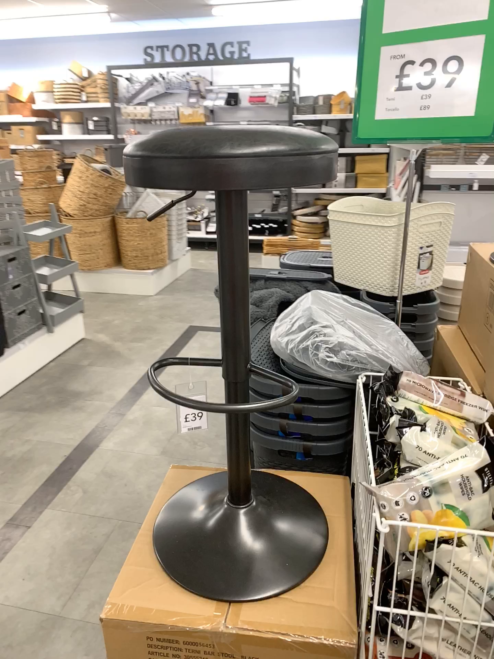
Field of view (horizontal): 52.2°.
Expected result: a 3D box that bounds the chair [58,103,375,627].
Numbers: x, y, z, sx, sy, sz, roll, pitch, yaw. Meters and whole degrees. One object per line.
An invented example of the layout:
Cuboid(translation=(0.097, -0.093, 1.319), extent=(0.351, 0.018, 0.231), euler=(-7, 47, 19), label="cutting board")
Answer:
Cuboid(translation=(-0.003, 0.034, 0.929), extent=(0.396, 0.795, 0.410), euler=(4, 20, 12), label="chair")
